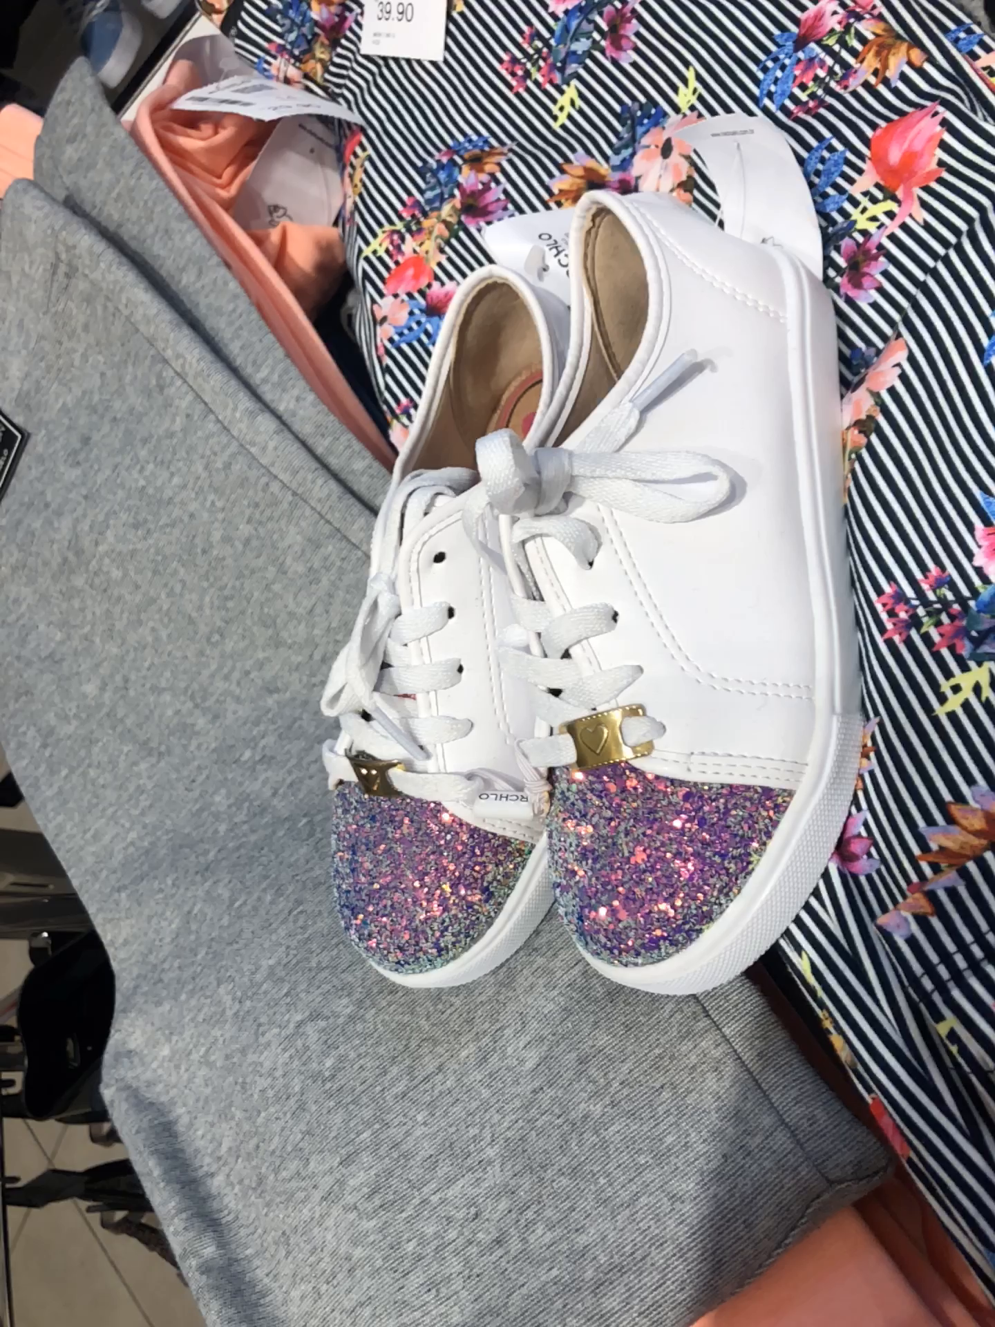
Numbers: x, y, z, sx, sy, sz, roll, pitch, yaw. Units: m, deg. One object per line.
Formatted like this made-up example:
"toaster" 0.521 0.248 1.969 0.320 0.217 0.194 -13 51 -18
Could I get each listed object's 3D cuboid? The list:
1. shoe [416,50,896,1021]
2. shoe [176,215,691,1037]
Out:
"shoe" 0.042 -0.024 0.270 0.080 0.070 0.200 -6 75 43
"shoe" -0.014 -0.009 0.301 0.080 0.070 0.190 6 82 37
